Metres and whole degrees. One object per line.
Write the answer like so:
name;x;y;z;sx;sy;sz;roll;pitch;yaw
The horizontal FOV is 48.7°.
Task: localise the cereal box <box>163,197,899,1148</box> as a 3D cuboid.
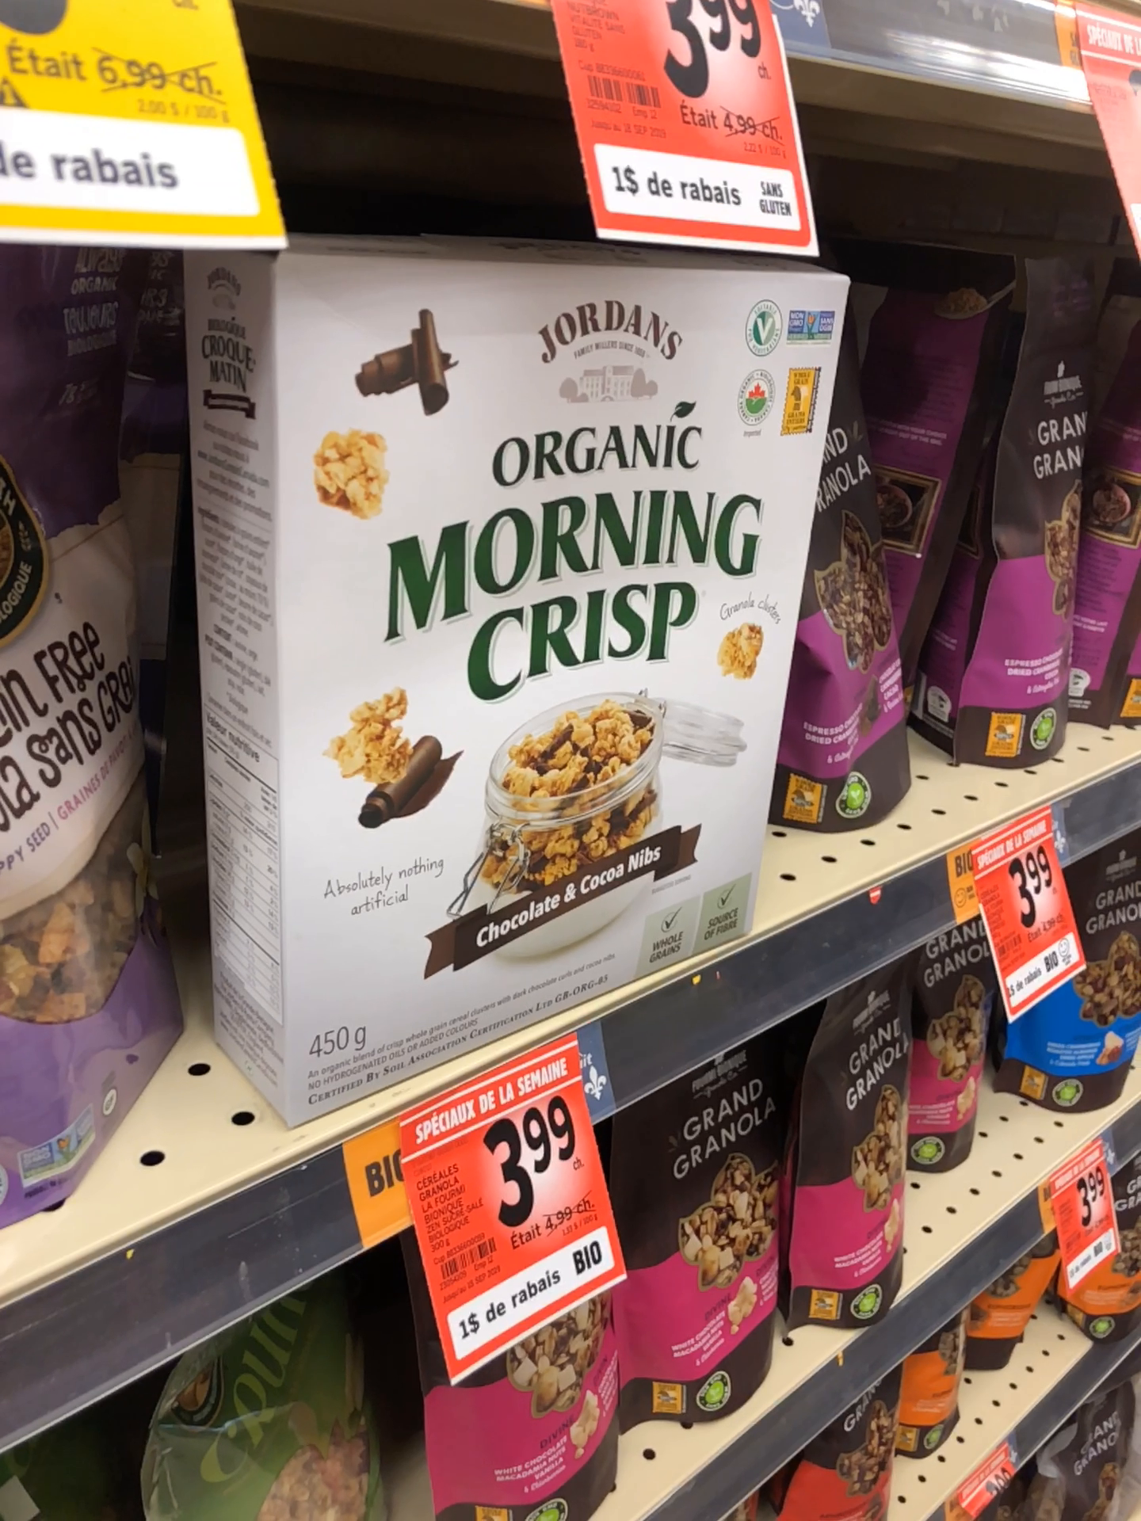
cereal box;-0.006;-0.029;0.336;0.181;0.209;0.050;-15;30;-38
